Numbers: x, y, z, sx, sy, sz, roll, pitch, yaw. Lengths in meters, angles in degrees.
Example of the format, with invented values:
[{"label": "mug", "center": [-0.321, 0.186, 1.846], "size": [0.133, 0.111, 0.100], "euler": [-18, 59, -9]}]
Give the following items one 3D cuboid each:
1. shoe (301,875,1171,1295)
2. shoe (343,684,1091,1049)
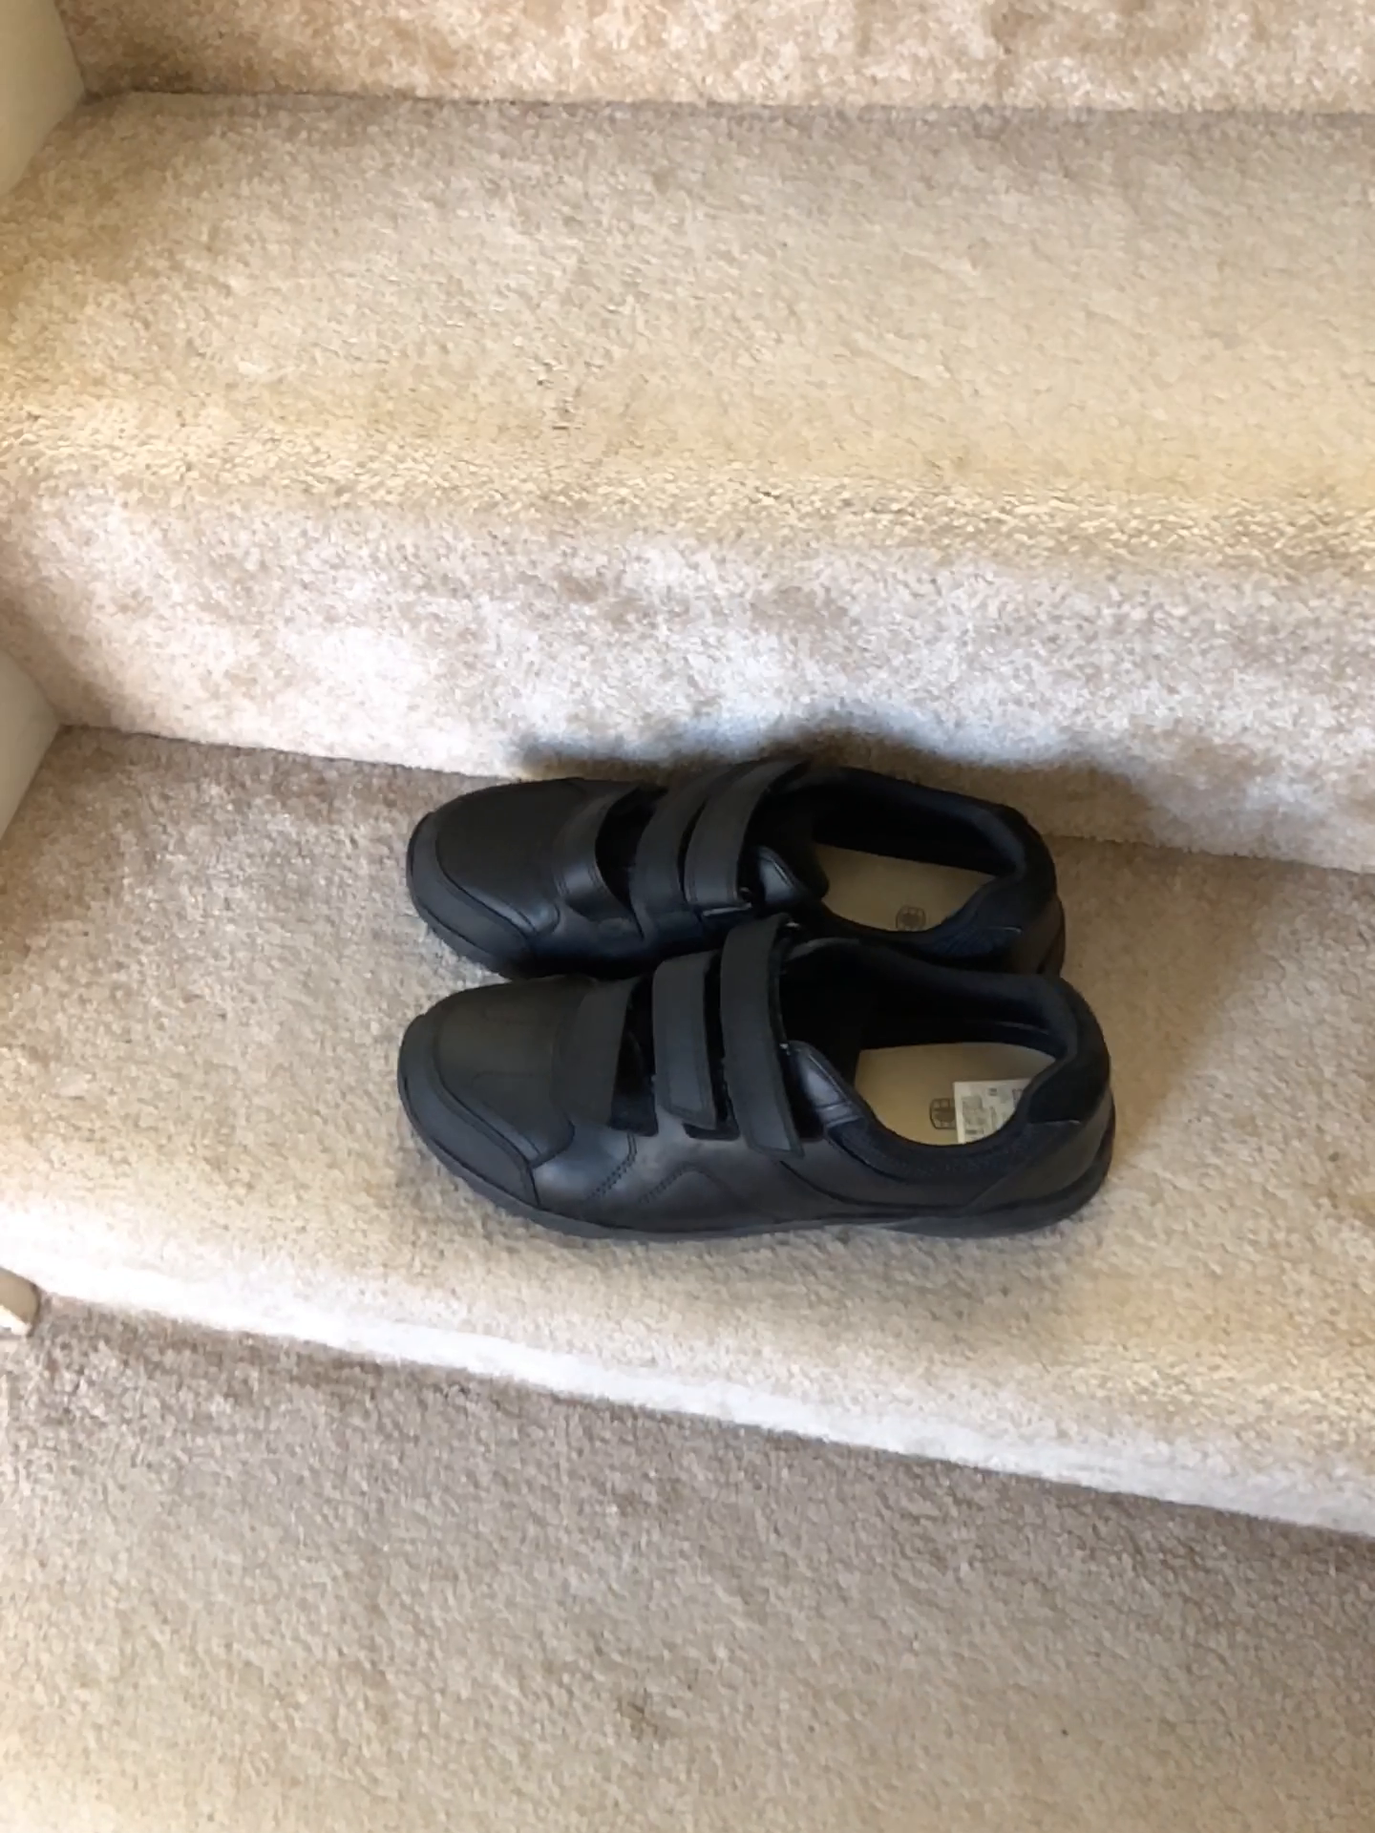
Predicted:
[{"label": "shoe", "center": [0.020, 0.059, 0.536], "size": [0.270, 0.099, 0.100], "euler": [2, 58, 8]}, {"label": "shoe", "center": [0.016, -0.021, 0.612], "size": [0.270, 0.099, 0.100], "euler": [2, 58, 8]}]
